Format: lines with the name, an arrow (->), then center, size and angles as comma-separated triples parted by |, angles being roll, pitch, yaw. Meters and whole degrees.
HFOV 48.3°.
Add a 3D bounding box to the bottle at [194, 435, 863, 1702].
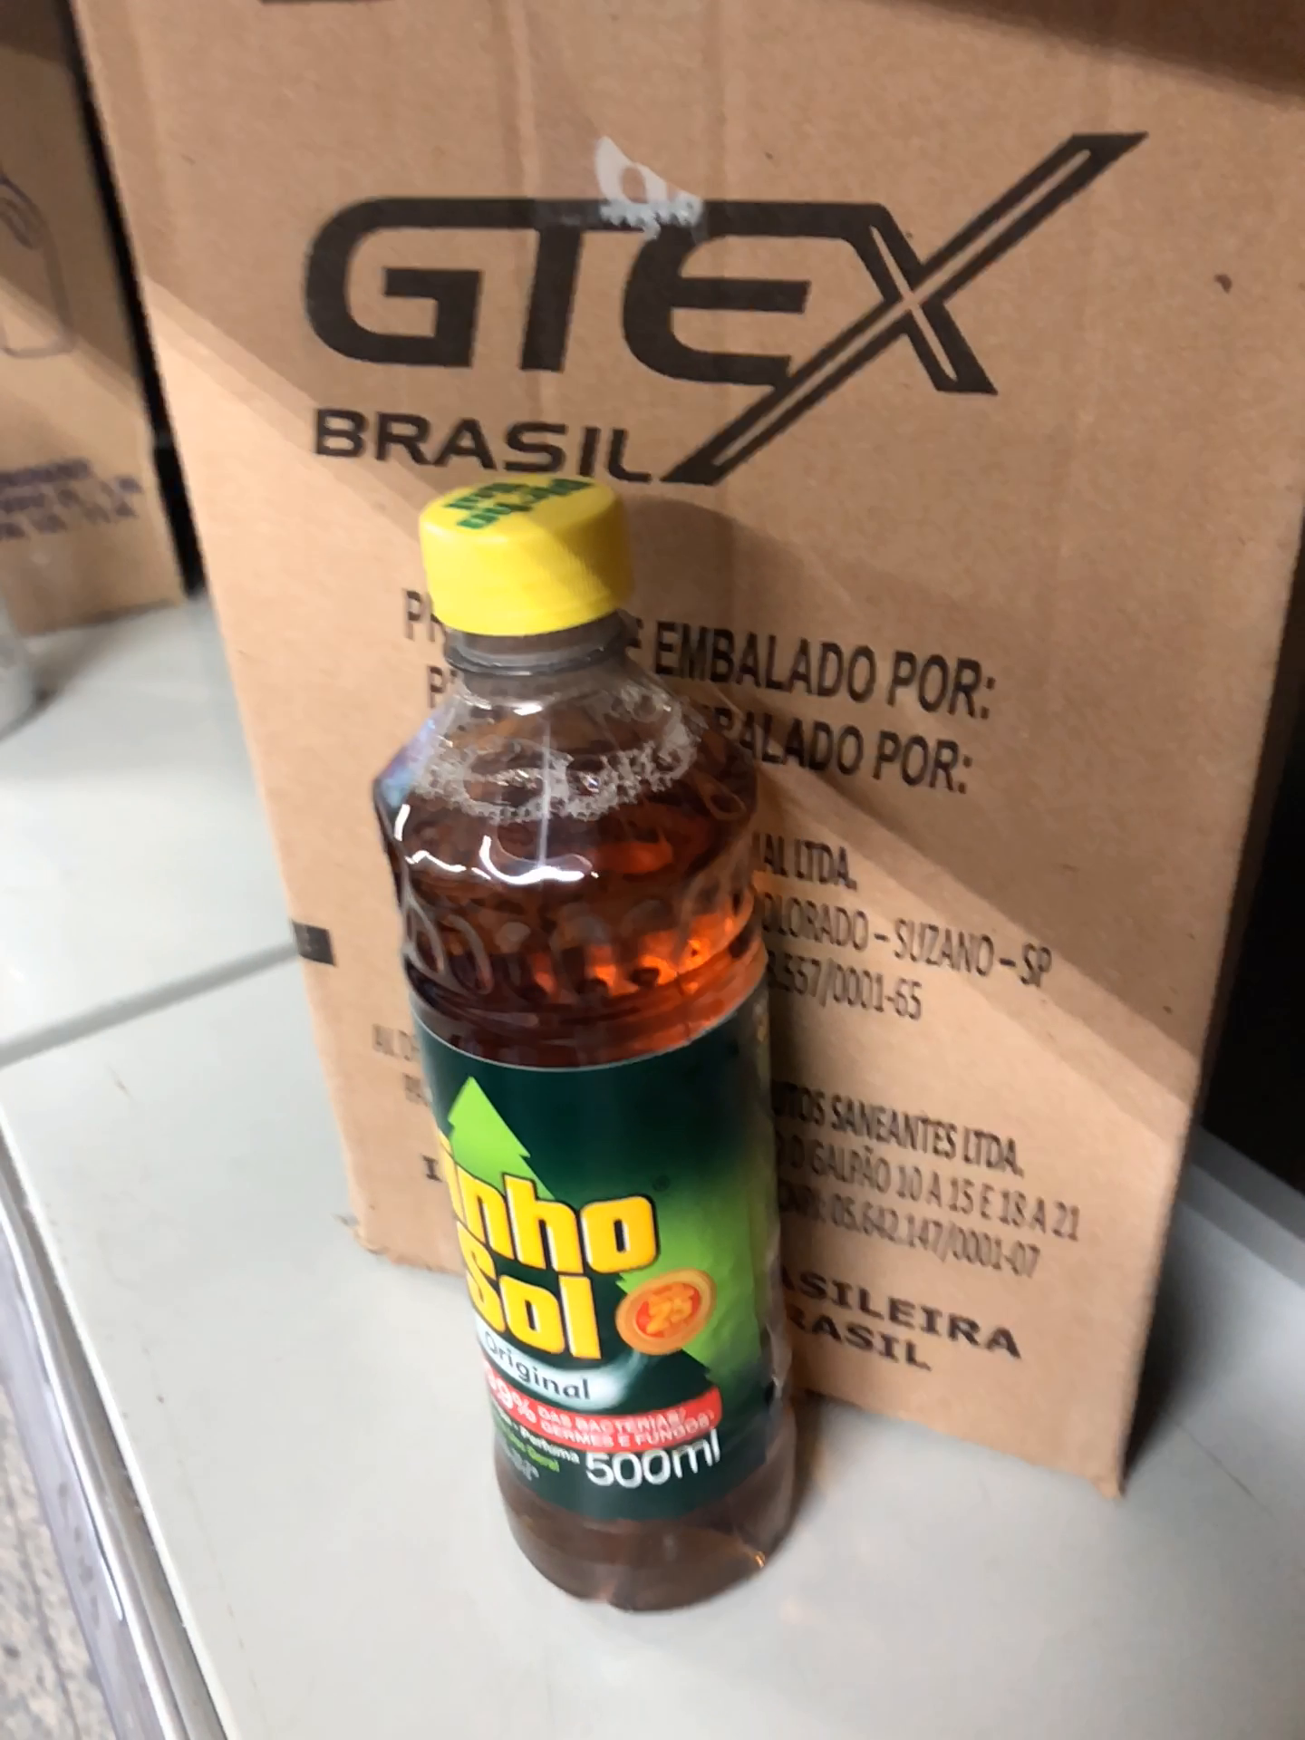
bottle -> -0.007, 0.044, 0.257 | 0.070, 0.218, 0.060 | 13, 37, 26
